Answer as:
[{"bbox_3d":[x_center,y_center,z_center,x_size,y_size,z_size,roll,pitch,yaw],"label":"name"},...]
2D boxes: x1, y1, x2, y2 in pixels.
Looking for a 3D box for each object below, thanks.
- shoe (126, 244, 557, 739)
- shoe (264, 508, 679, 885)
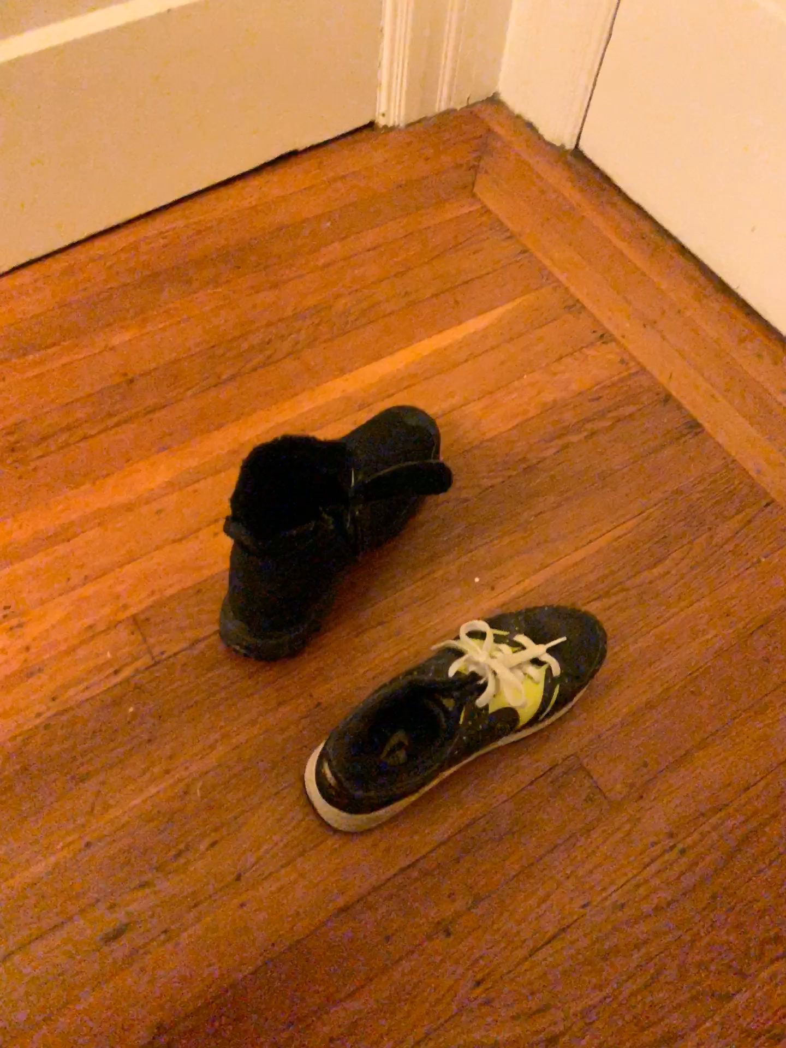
[{"bbox_3d":[-0.031,-0.023,0.682,0.160,0.239,0.311,31,63,13],"label":"shoe"},{"bbox_3d":[0.060,0.126,0.620,0.290,0.100,0.120,-32,67,-20],"label":"shoe"}]
